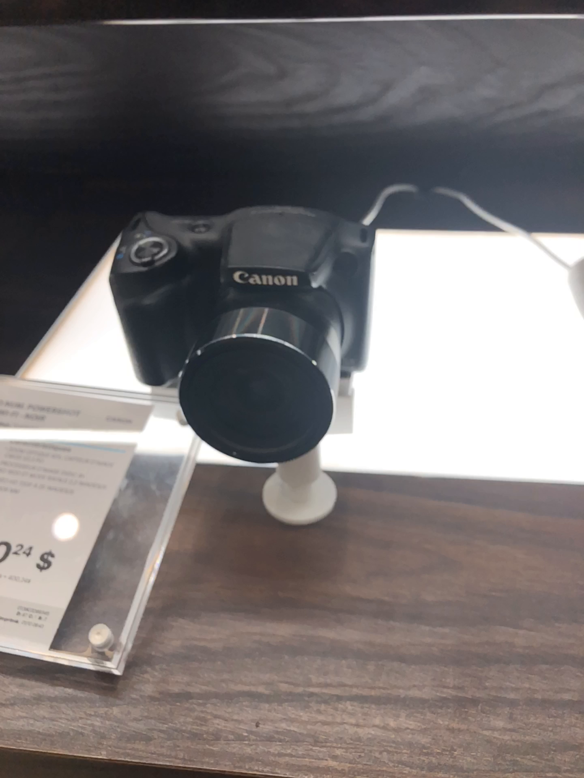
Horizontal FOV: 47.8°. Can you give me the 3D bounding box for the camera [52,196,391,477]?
[{"bbox_3d":[-0.019,-0.023,0.252,0.102,0.074,0.081,0,36,4],"label":"camera"}]
